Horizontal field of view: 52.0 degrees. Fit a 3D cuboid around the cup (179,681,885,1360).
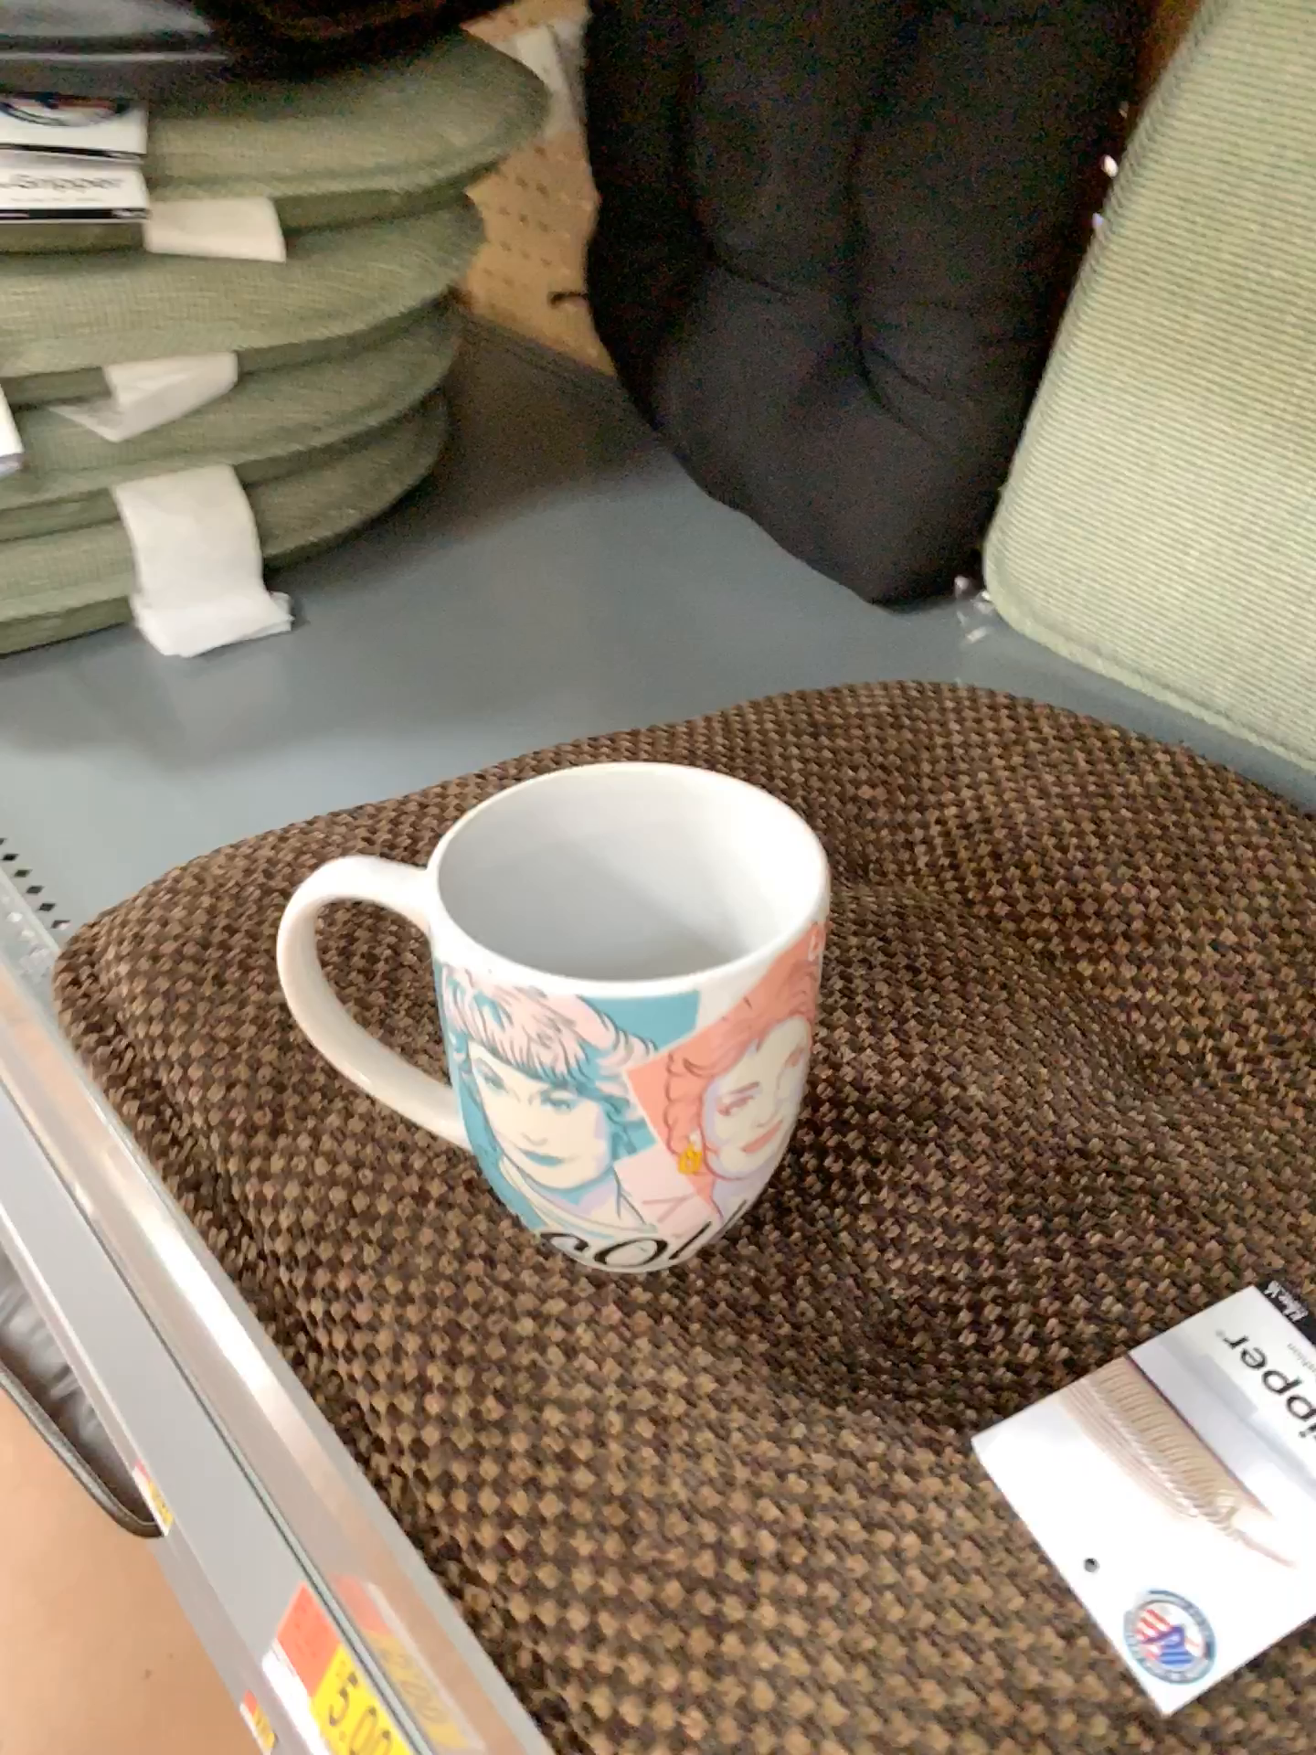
[{"bbox_3d":[-0.024,0.030,0.325,0.128,0.099,0.090,13,40,14],"label":"cup"}]
